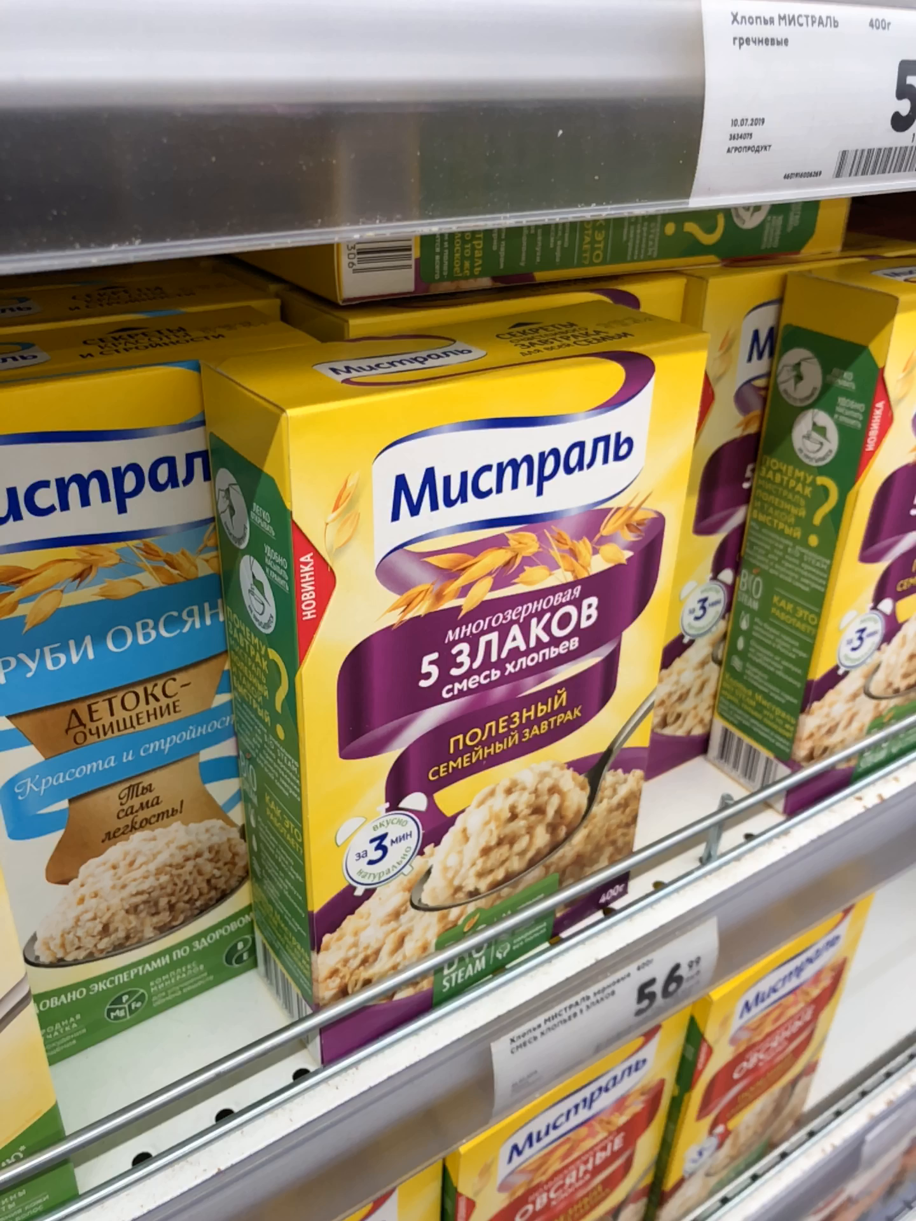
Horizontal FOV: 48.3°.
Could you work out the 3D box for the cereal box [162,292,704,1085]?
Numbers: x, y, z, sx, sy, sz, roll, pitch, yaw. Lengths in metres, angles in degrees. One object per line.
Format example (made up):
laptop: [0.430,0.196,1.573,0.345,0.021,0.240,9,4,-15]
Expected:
cereal box: [-0.004,0.024,0.307,0.130,0.209,0.050,-19,35,-31]
